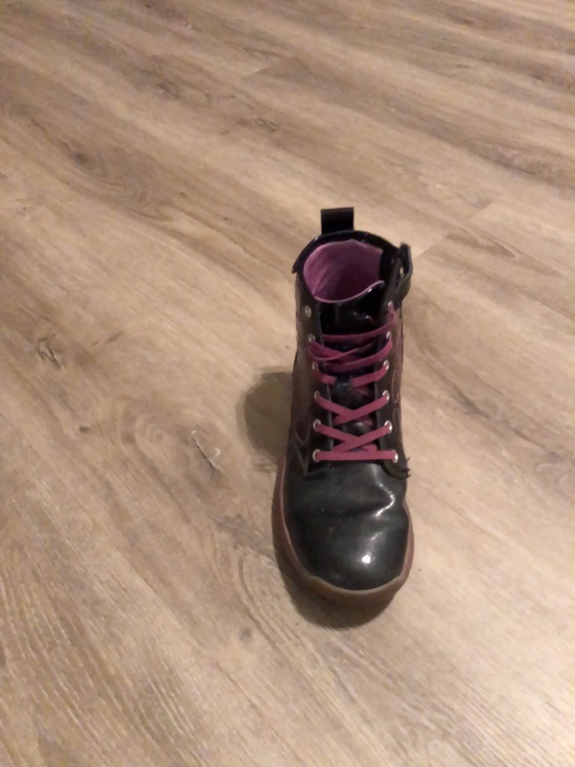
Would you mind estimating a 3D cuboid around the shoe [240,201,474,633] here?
[{"bbox_3d":[0.037,0.013,0.406,0.100,0.149,0.231,0,47,4],"label":"shoe"}]
